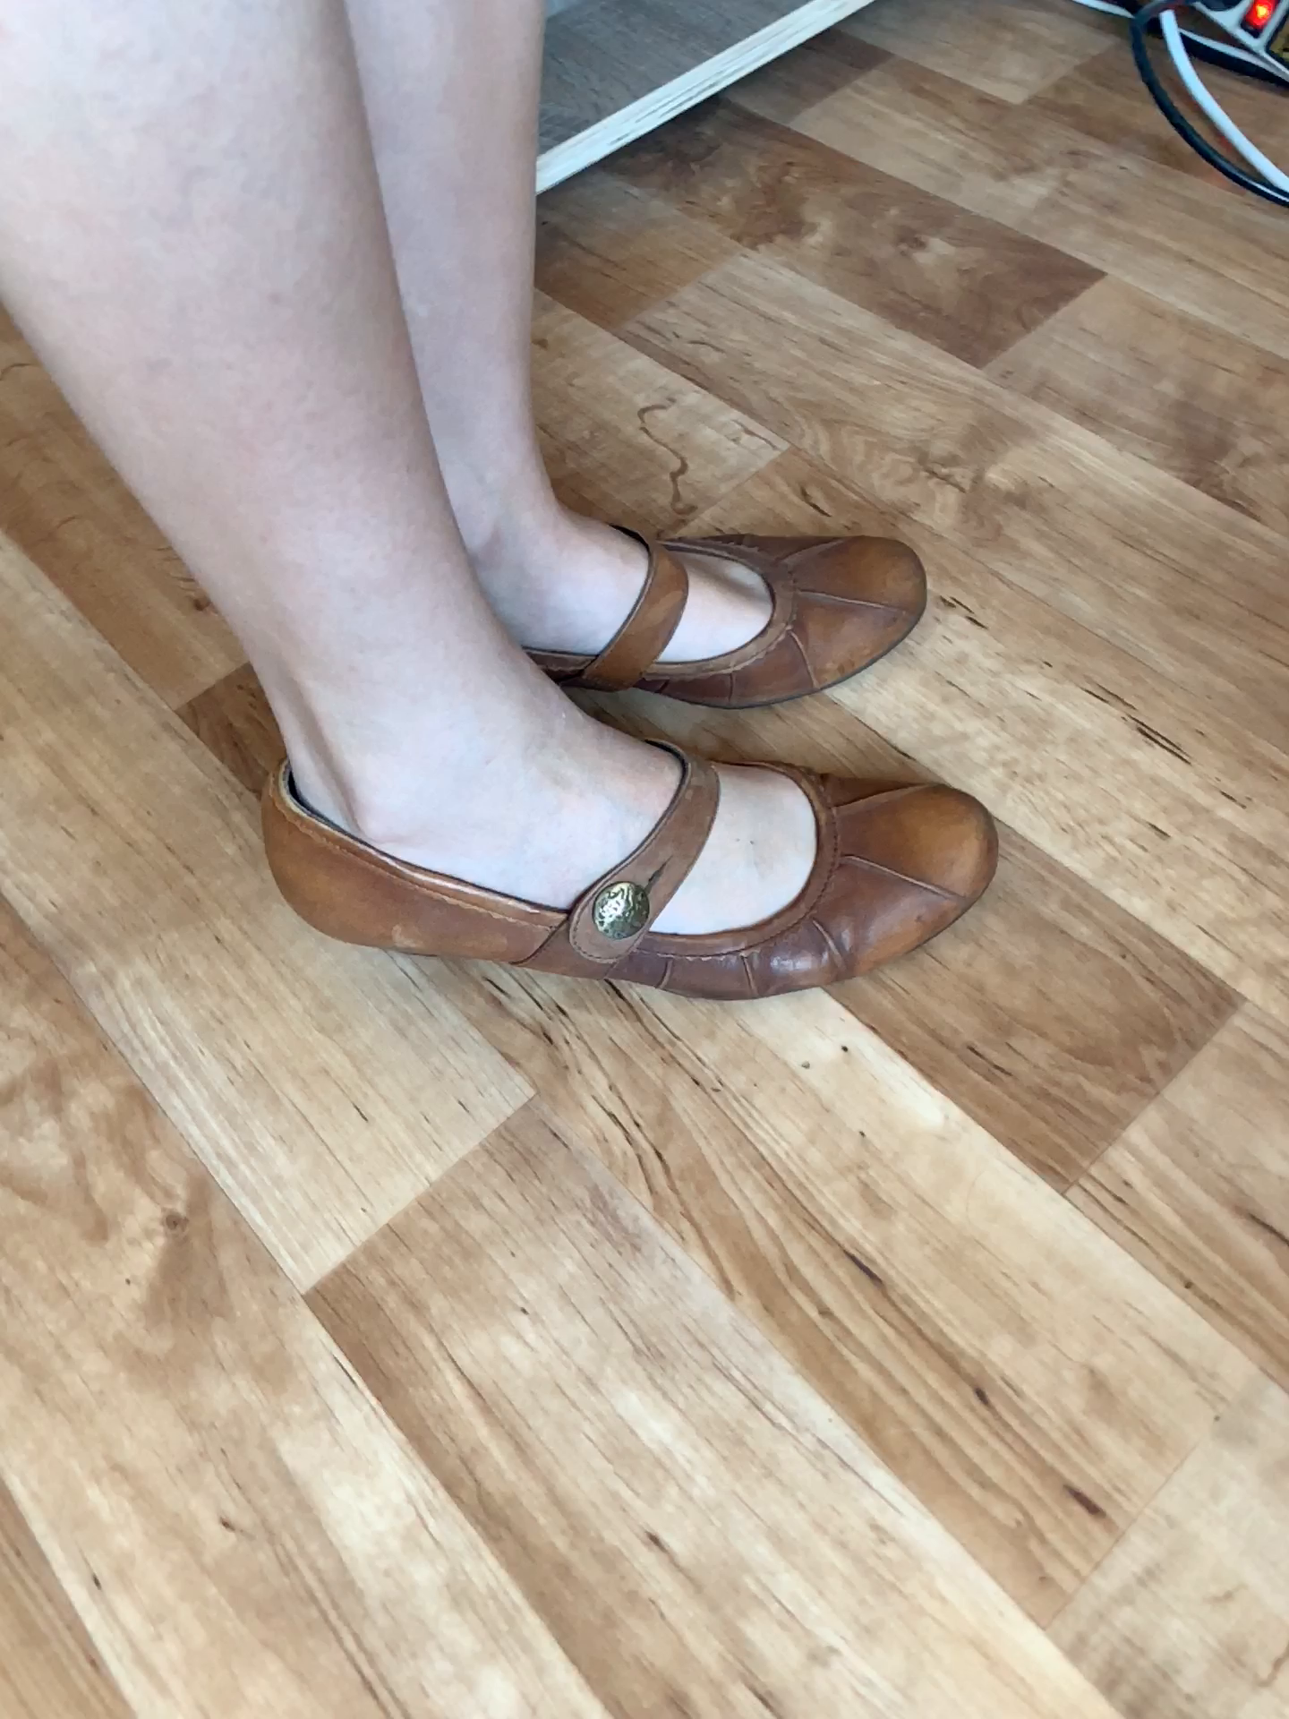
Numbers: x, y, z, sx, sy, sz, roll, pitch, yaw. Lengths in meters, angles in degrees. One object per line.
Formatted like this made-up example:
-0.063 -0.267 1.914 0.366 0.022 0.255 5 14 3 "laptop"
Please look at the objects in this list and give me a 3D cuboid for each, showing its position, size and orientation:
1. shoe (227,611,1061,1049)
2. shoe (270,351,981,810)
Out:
-0.001 -0.008 0.455 0.250 0.090 0.090 -6 56 1 "shoe"
-0.008 -0.110 0.524 0.250 0.090 0.090 -14 57 -4 "shoe"
